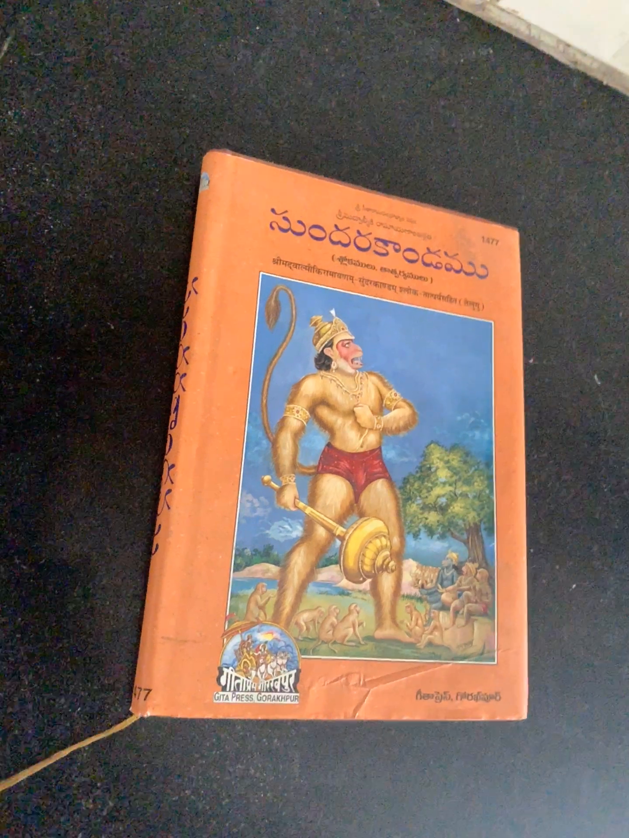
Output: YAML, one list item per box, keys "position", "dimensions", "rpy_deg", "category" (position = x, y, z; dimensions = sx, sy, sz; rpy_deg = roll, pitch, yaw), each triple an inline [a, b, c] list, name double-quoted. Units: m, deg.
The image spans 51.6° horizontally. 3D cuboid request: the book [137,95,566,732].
- position: [0.032, -0.003, 0.344]
  dimensions: [0.200, 0.040, 0.301]
  rpy_deg: [9, 74, -17]
  category: "book"
